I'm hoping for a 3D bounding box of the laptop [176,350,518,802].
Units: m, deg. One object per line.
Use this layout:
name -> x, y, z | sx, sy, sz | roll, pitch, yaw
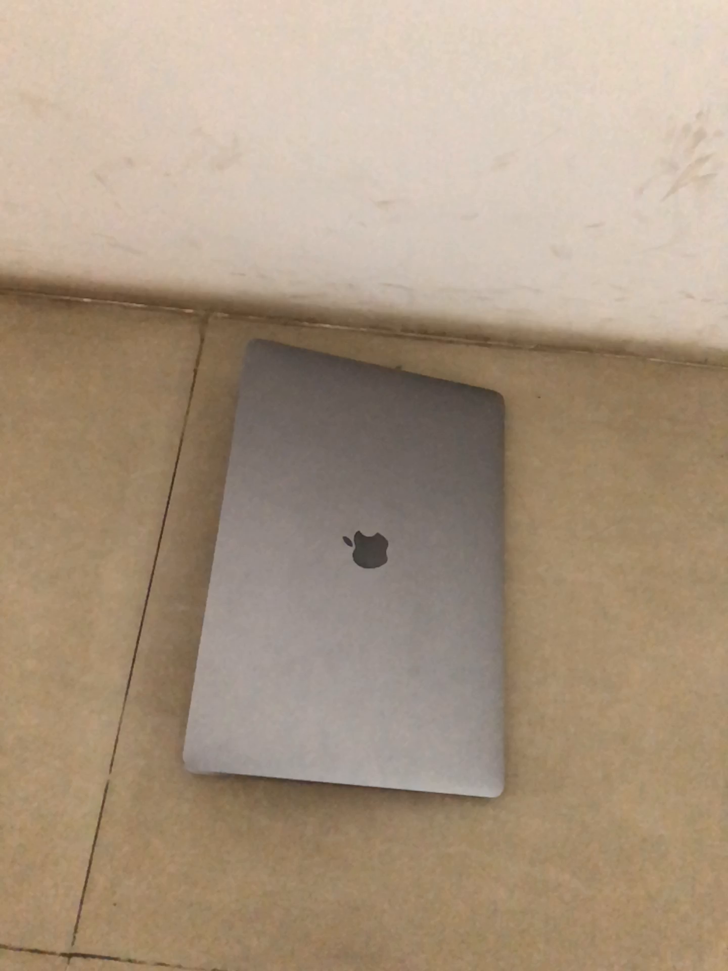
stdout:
laptop -> 0.000, 0.061, 0.642 | 0.232, 0.057, 0.335 | 6, 67, 0
